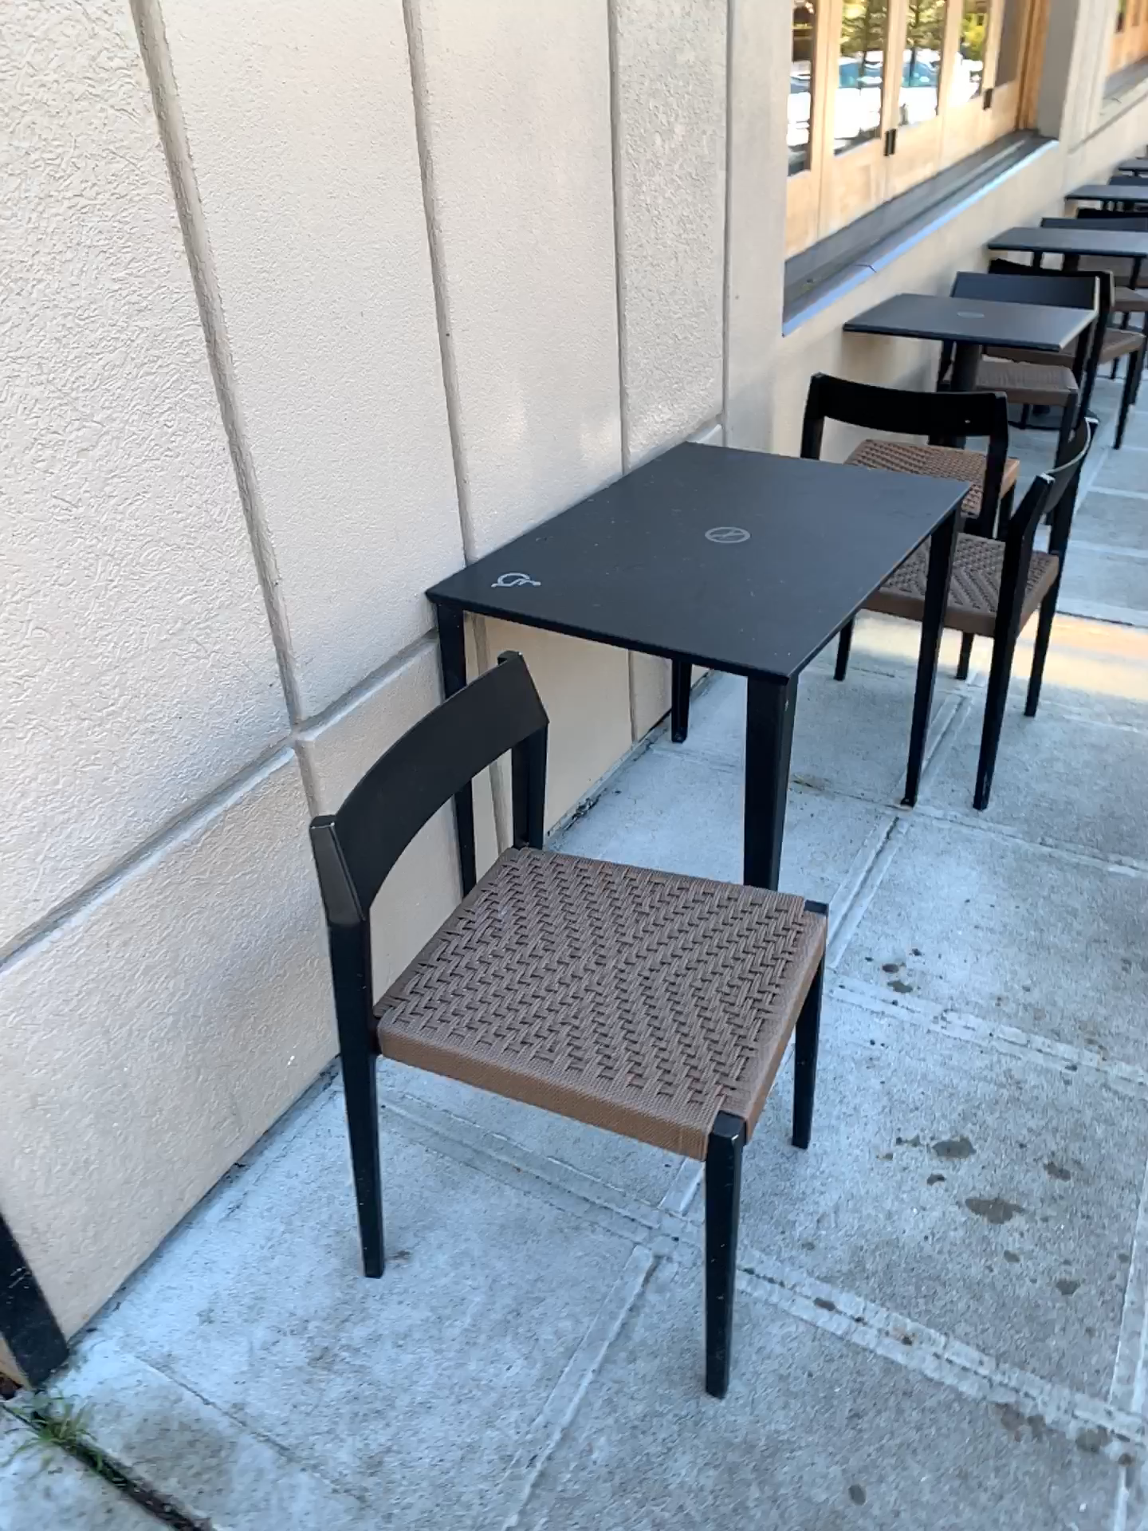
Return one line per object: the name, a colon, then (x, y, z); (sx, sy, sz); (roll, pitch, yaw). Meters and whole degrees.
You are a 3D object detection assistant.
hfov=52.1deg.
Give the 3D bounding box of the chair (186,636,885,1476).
chair: (0.009, 0.304, 1.410); (0.551, 0.666, 0.552); (11, 36, 22)
